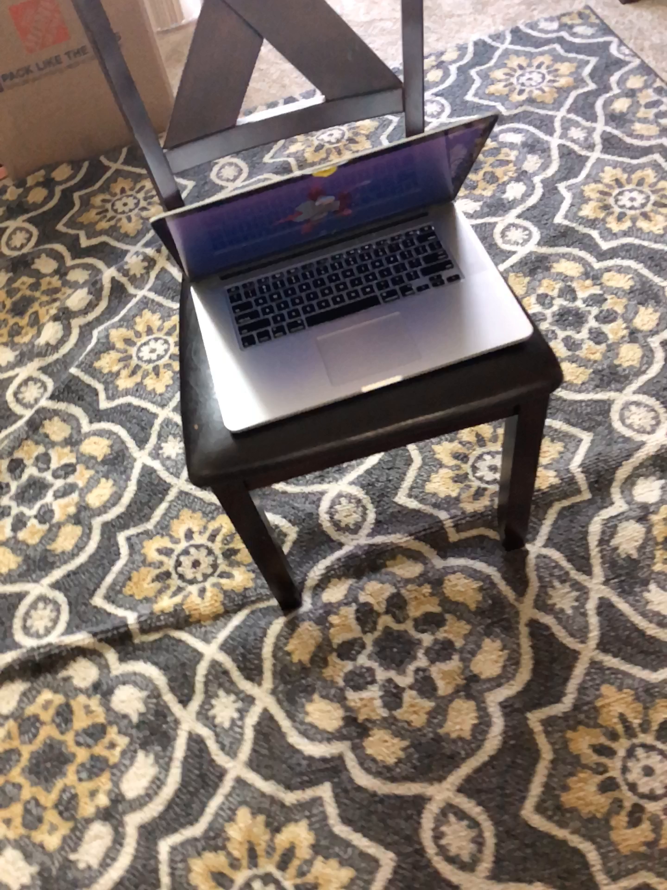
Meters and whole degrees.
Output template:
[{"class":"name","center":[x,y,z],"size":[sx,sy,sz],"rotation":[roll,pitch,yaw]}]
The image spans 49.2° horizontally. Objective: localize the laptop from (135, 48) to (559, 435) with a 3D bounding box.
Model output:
[{"class":"laptop","center":[0.008,-0.213,0.770],"size":[0.351,0.200,0.237],"rotation":[-18,56,-3]}]
